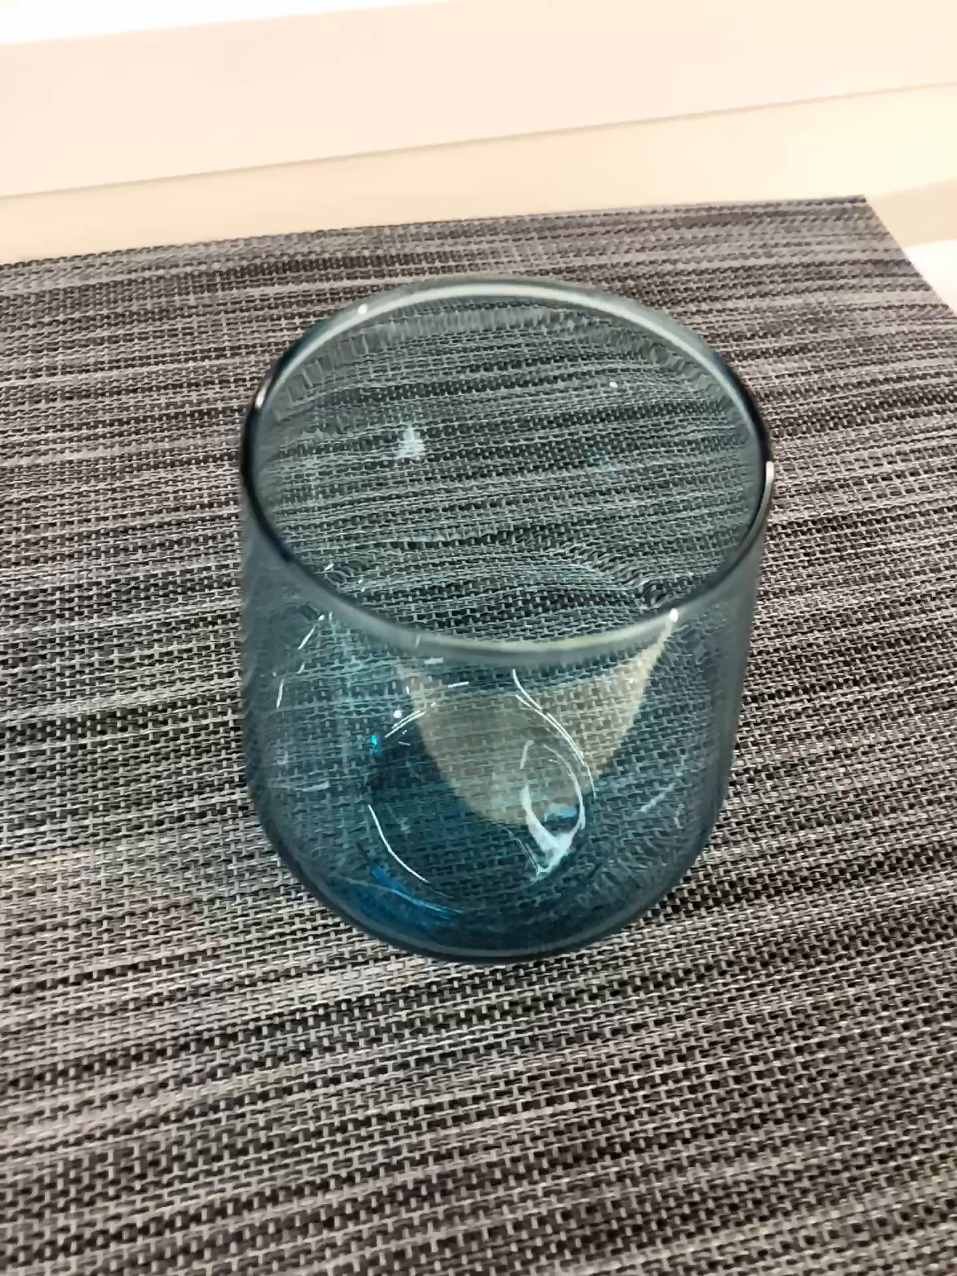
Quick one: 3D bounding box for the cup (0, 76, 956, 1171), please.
[{"bbox_3d":[-0.008,-0.005,0.203,0.120,0.120,0.120,1,53,-1],"label":"cup"}]
